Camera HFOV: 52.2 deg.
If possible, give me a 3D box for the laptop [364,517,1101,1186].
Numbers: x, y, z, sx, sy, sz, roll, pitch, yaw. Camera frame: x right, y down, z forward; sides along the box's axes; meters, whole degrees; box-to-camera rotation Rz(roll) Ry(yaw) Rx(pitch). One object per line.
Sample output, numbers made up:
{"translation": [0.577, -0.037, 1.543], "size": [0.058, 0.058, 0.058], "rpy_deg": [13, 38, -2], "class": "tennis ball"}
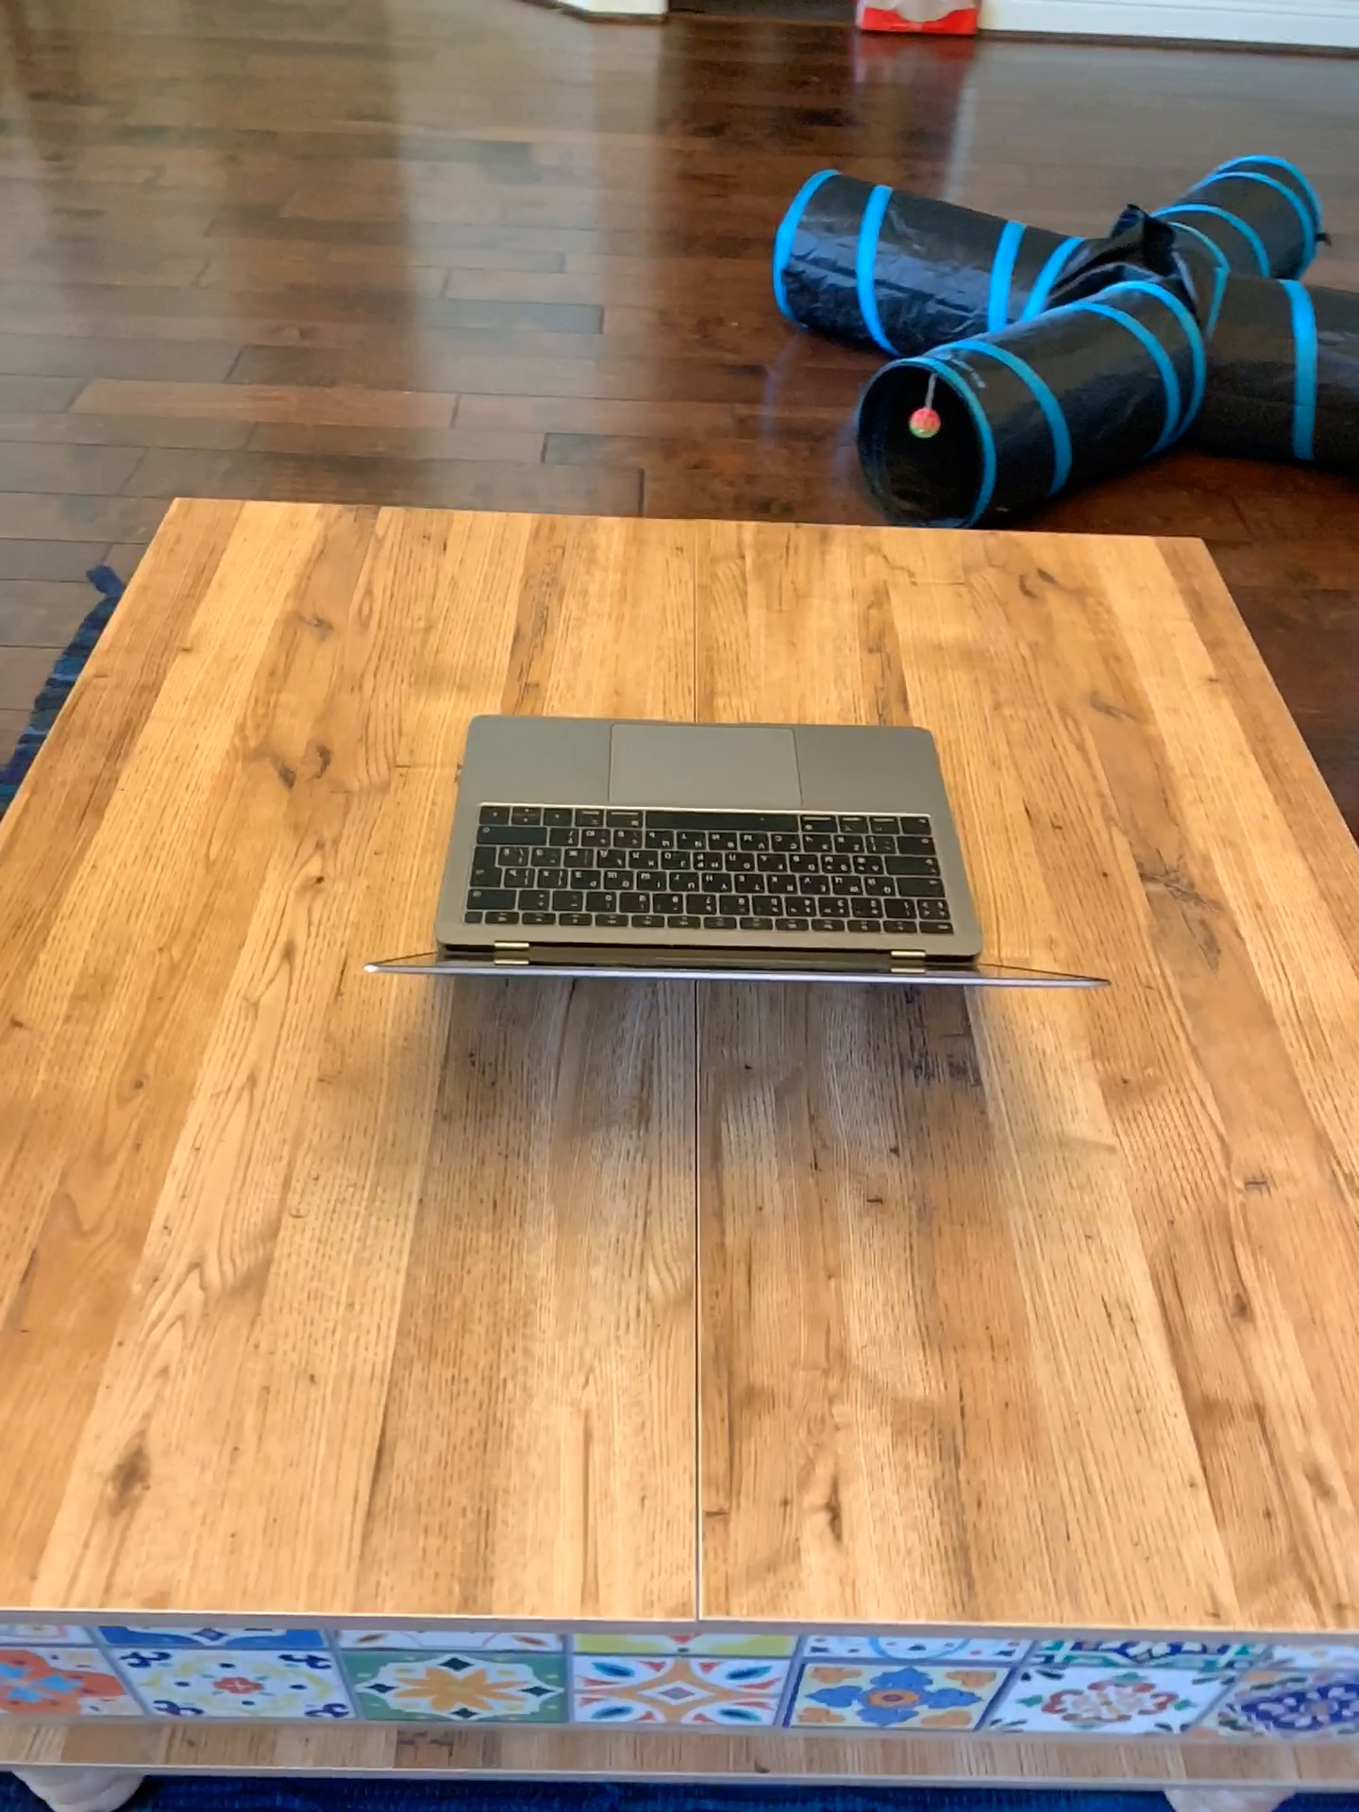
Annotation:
{"translation": [0.020, -0.046, 0.724], "size": [0.290, 0.141, 0.355], "rpy_deg": [2, 44, -2], "class": "laptop"}
